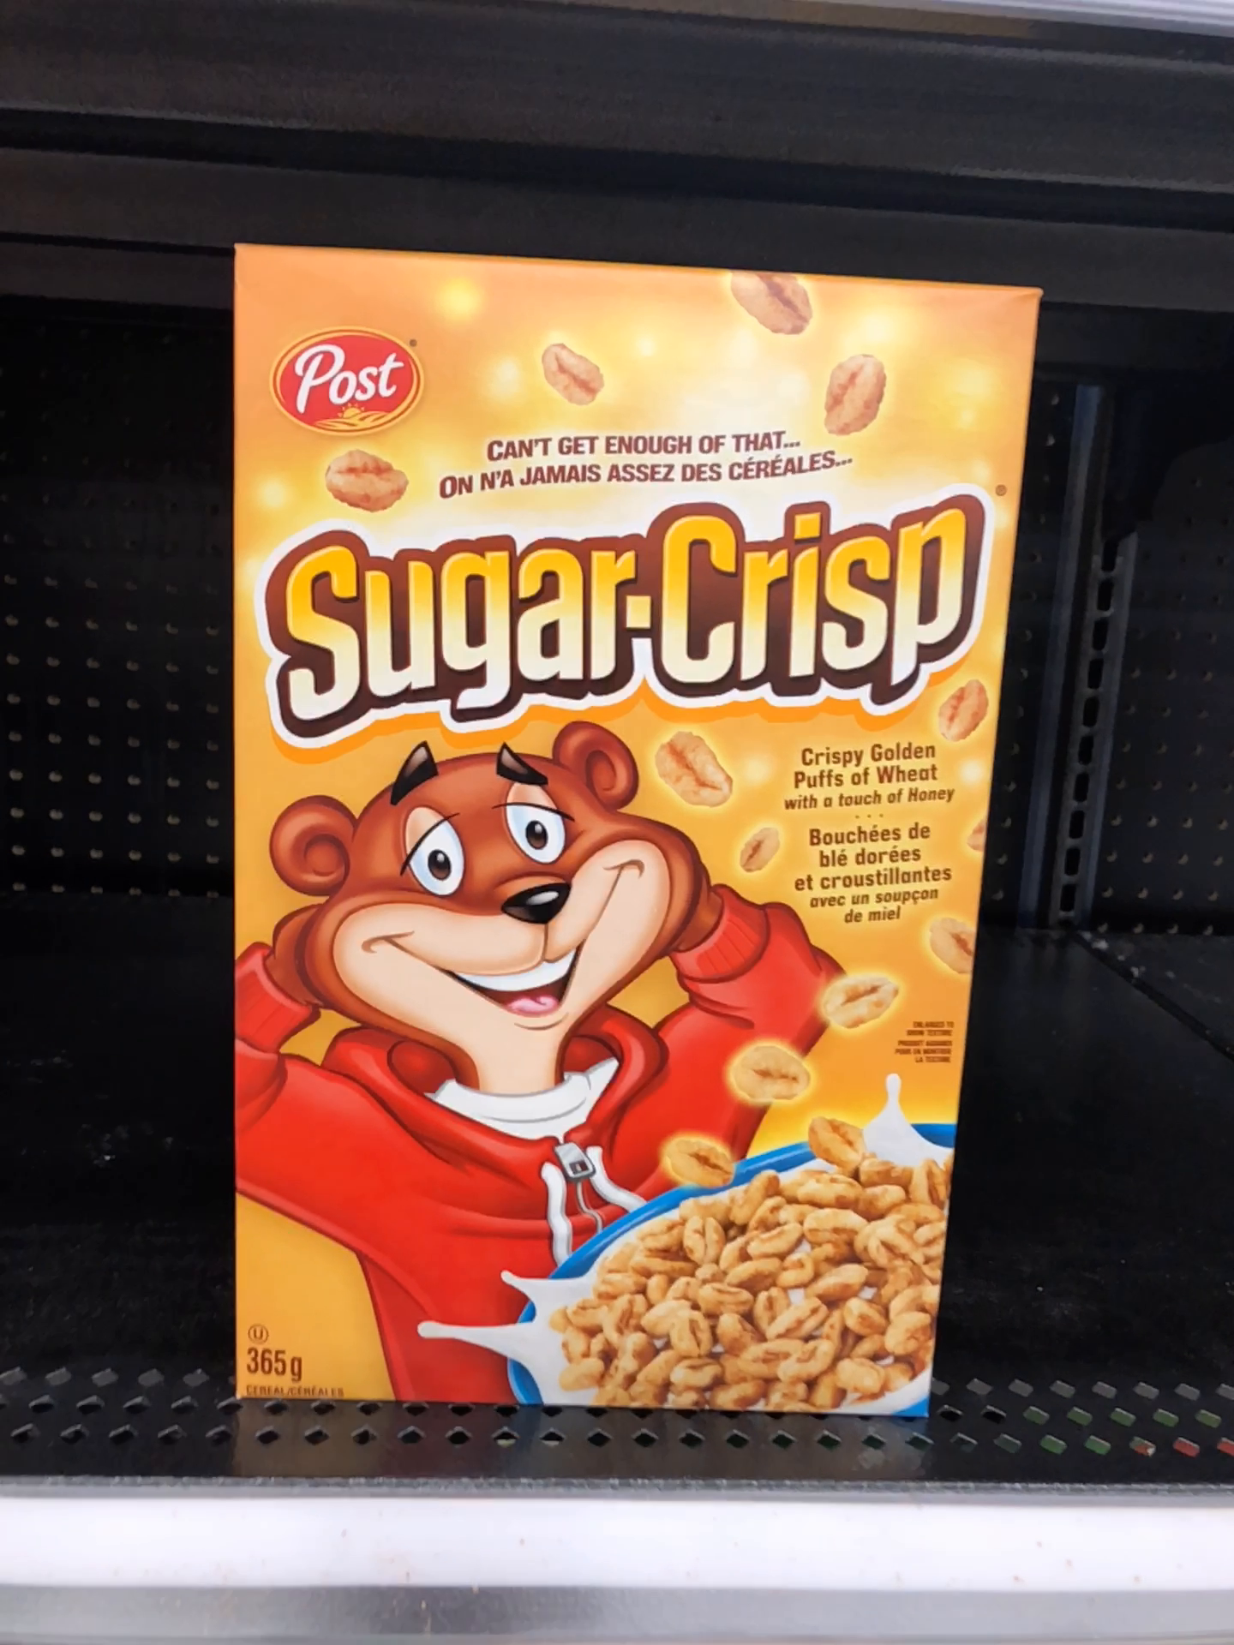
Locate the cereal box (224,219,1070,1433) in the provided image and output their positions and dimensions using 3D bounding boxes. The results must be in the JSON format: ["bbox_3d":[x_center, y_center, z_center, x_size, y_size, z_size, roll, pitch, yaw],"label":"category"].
[{"bbox_3d":[0.000,0.009,0.380,0.200,0.309,0.060,3,11,-2],"label":"cereal box"}]
